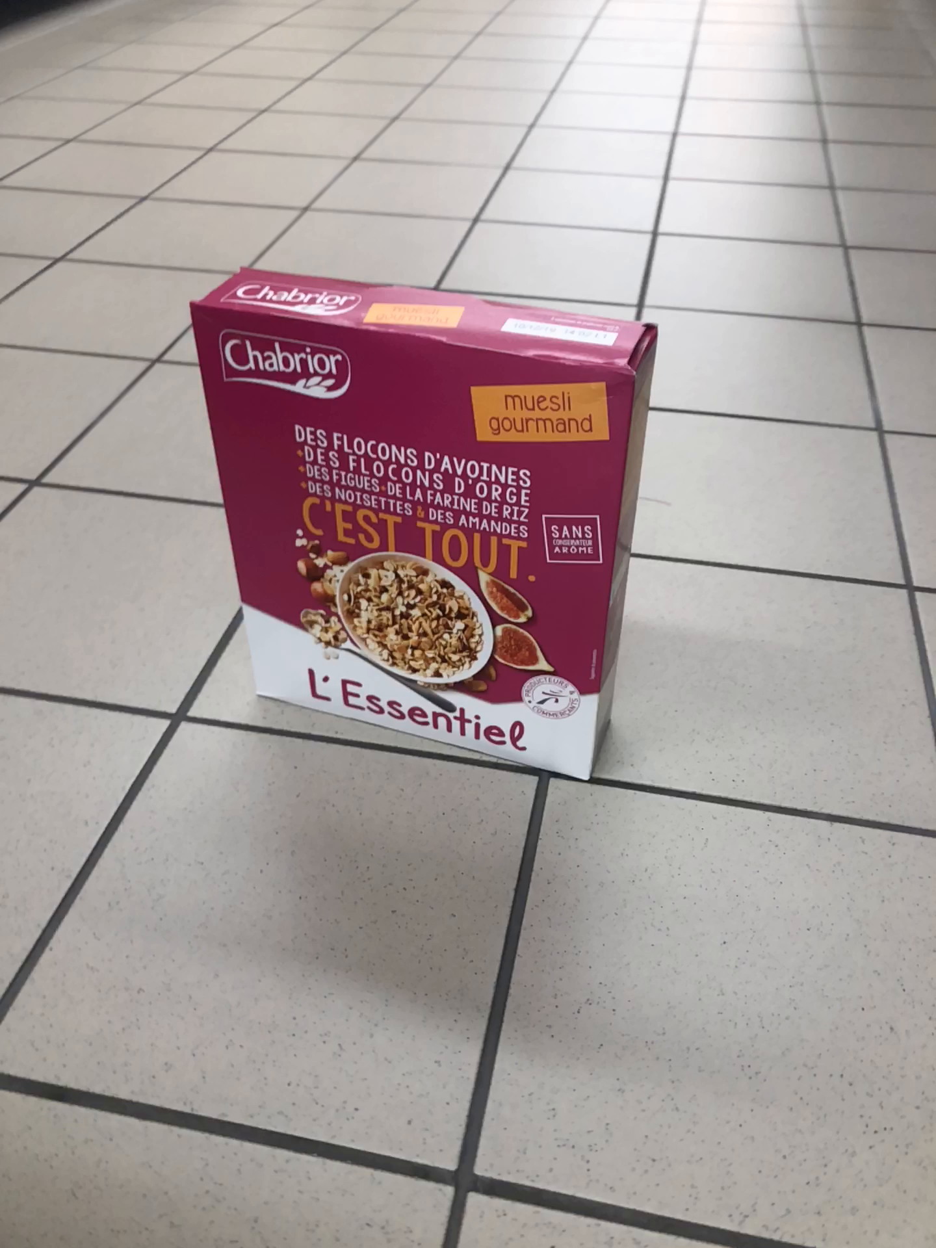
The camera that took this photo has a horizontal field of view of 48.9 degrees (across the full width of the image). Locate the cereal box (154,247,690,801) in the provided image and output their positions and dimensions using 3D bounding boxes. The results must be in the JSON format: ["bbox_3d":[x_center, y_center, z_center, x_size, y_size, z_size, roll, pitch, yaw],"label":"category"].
[{"bbox_3d":[-0.020,-0.042,0.489,0.210,0.229,0.060,13,41,15],"label":"cereal box"}]
